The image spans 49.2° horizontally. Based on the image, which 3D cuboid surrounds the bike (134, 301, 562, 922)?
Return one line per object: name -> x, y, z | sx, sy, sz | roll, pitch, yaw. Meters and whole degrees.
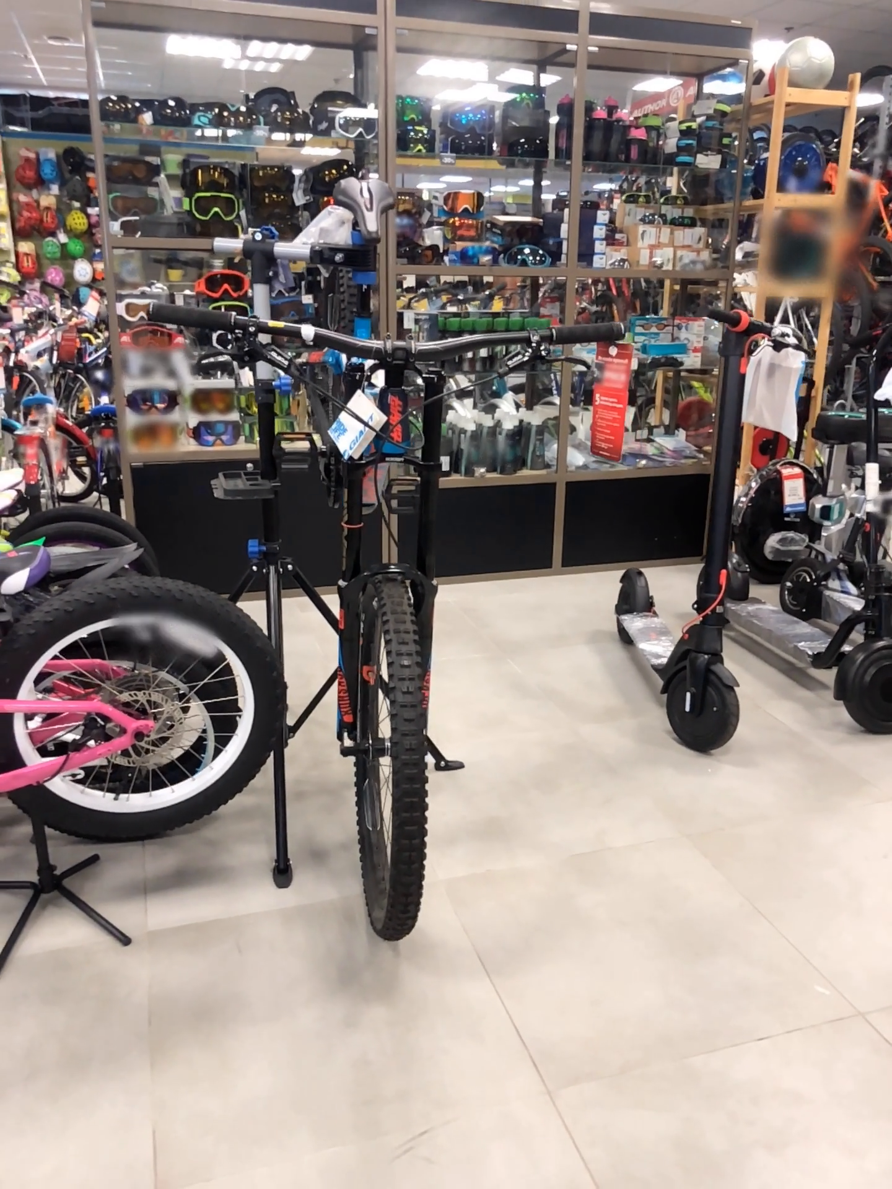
bike -> -0.219, -0.144, 2.073 | 0.659, 0.181, 1.532 | 0, 44, -9
